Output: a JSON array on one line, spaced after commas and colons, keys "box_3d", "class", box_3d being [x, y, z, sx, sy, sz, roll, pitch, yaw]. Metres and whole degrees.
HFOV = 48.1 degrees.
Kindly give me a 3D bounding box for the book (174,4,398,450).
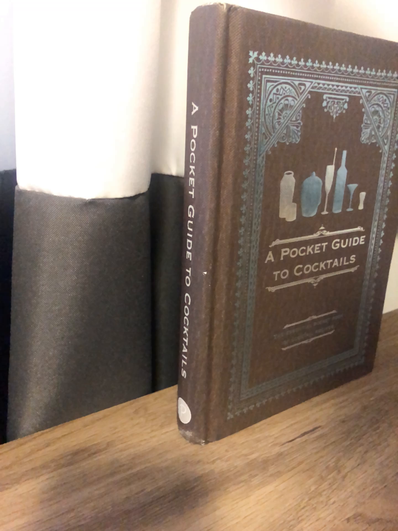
[{"box_3d": [0.053, -0.015, 0.242, 0.137, 0.200, 0.022, -10, 21, -34], "class": "book"}]
